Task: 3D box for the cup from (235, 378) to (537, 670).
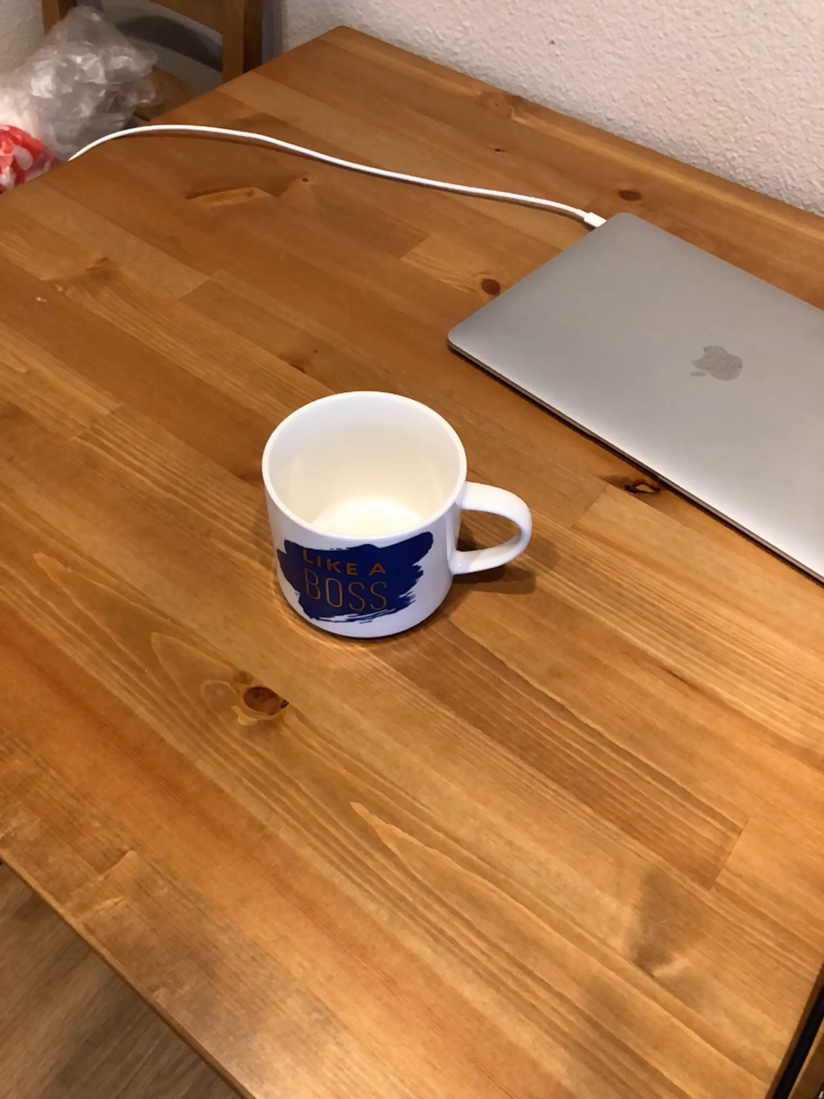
[{"bbox_3d":[-0.009,-0.013,0.463,0.130,0.090,0.100,6,51,2],"label":"cup"}]
